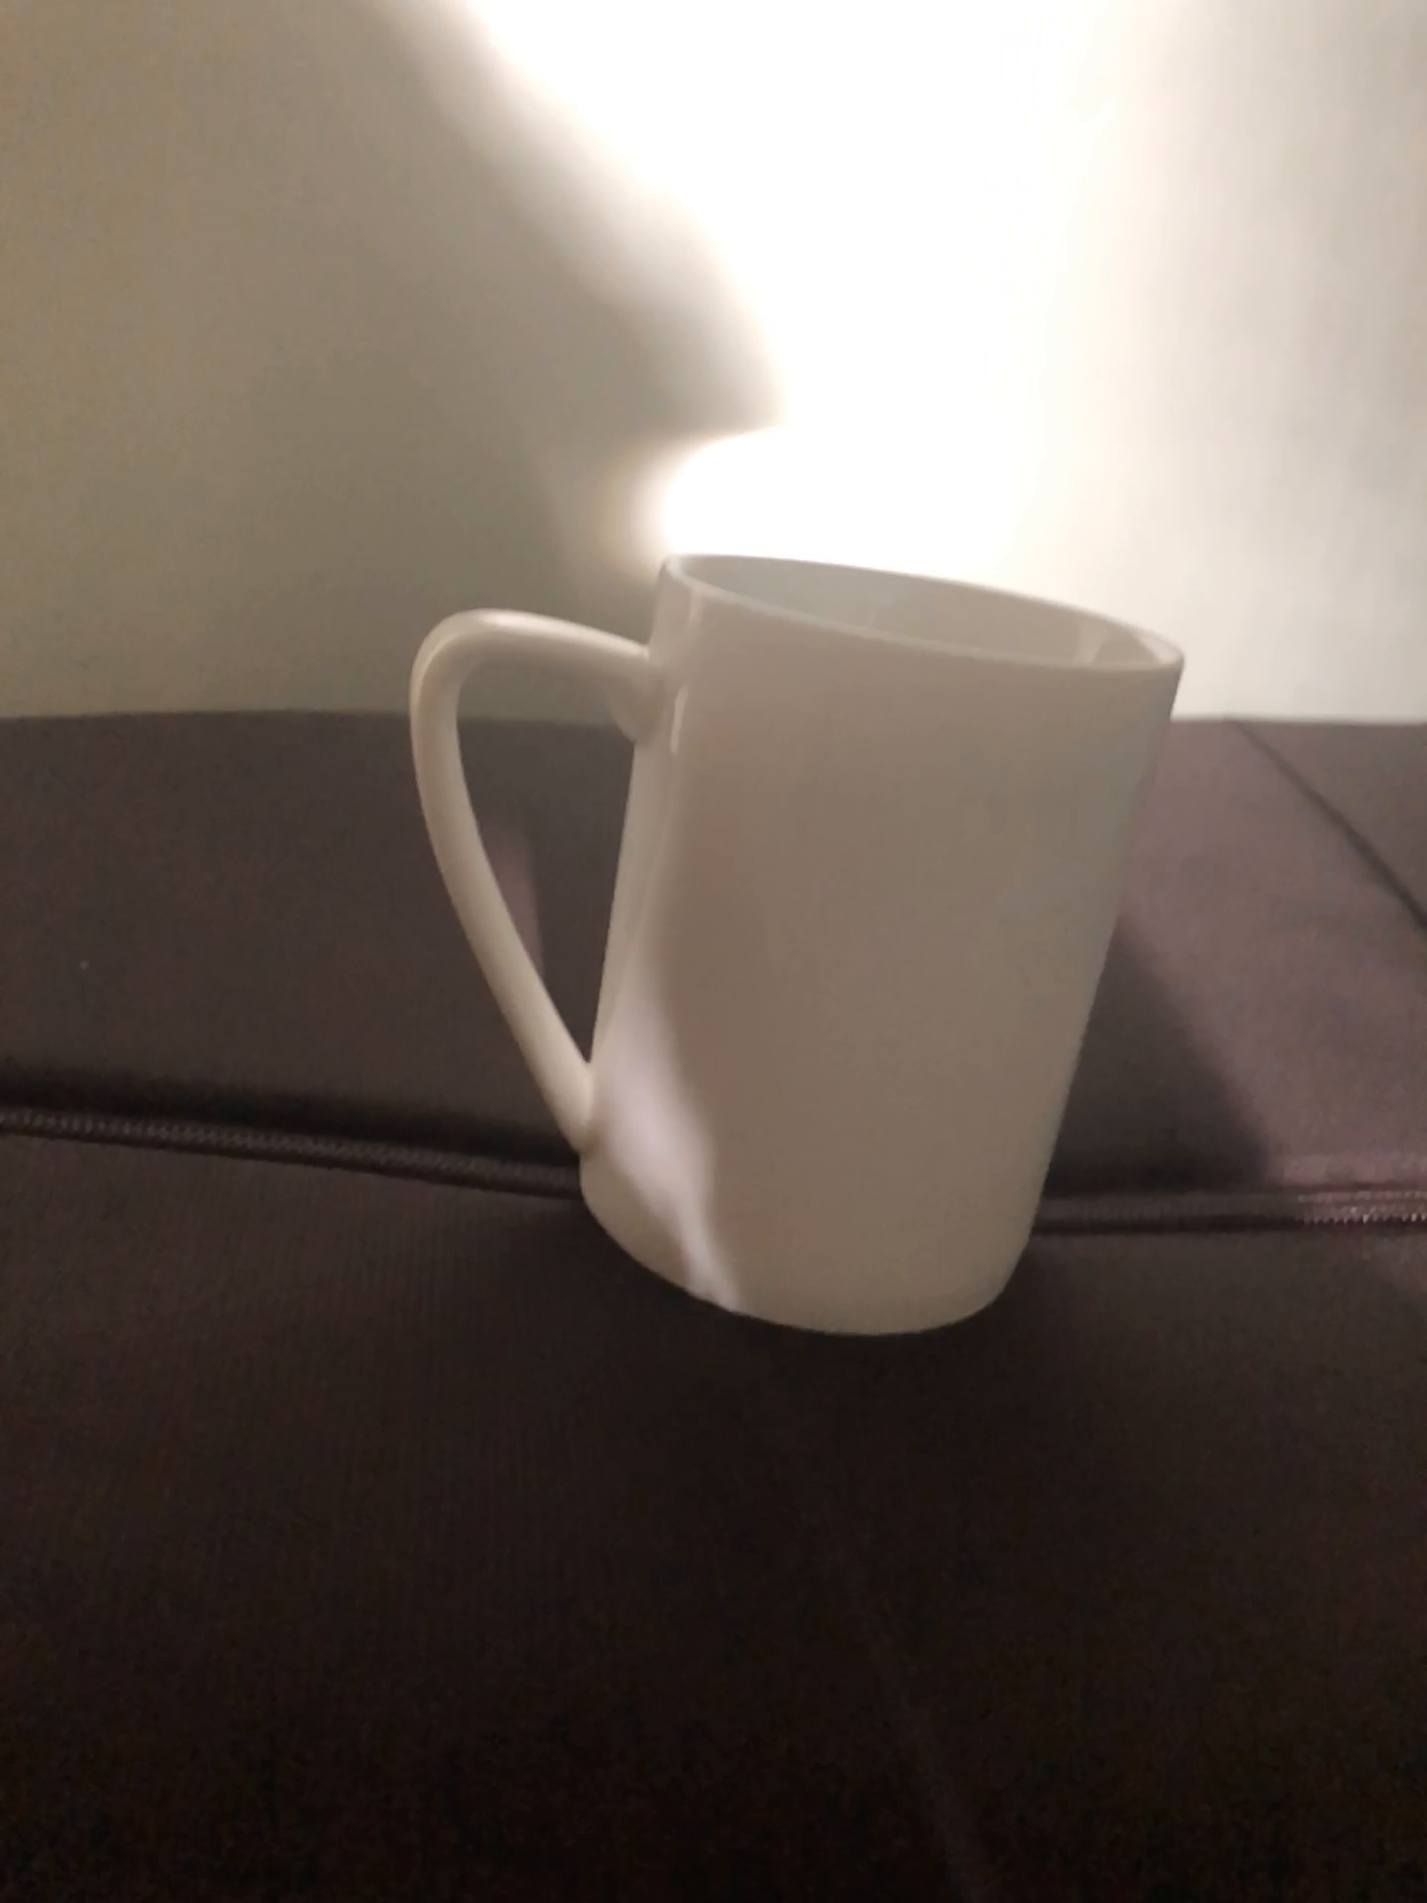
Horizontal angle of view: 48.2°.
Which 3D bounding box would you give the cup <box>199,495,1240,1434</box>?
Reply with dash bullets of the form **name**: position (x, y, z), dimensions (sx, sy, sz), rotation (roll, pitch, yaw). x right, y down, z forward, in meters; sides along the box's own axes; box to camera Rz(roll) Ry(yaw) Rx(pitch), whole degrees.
- **cup**: position (0.002, -0.009, 0.231), dimensions (0.108, 0.090, 0.097), rotation (12, 18, 6)
